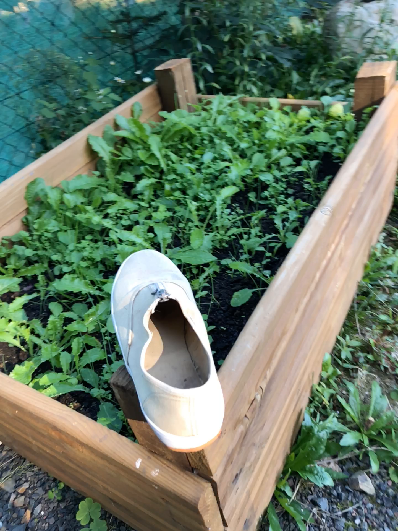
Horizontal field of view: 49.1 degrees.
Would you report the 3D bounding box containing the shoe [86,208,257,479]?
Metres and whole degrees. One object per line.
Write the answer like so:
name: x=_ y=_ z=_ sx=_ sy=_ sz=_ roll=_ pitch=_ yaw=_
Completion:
shoe: x=-0.040 y=0.052 z=0.435 sx=0.110 sy=0.070 sz=0.261 roll=-15 pitch=41 yaw=-6
